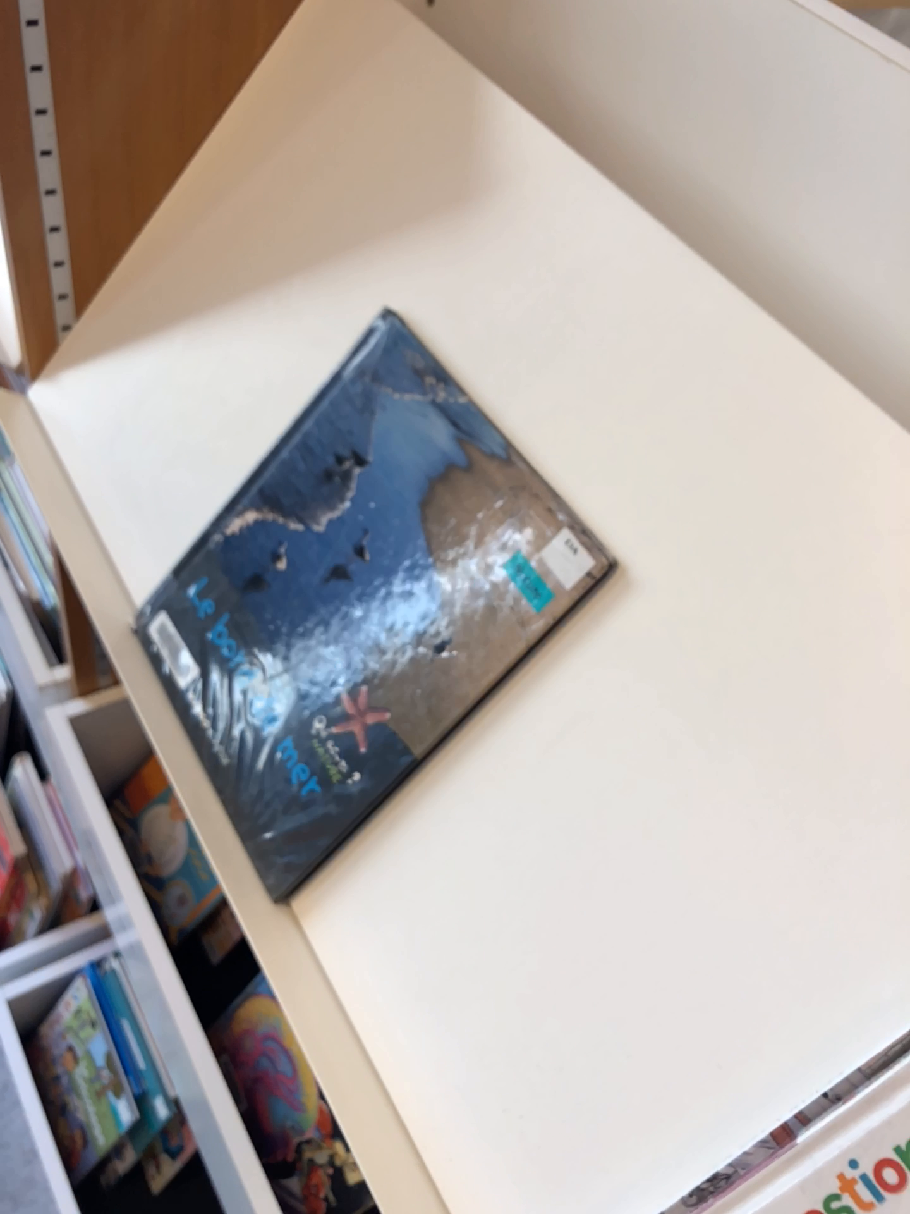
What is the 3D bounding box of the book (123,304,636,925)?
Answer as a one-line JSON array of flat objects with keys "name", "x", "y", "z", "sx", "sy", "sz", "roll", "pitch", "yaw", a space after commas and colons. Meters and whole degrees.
[{"name": "book", "x": -0.060, "y": 0.001, "z": 0.524, "sx": 0.020, "sy": 0.244, "sz": 0.209, "roll": 18, "pitch": 31, "yaw": -54}]
